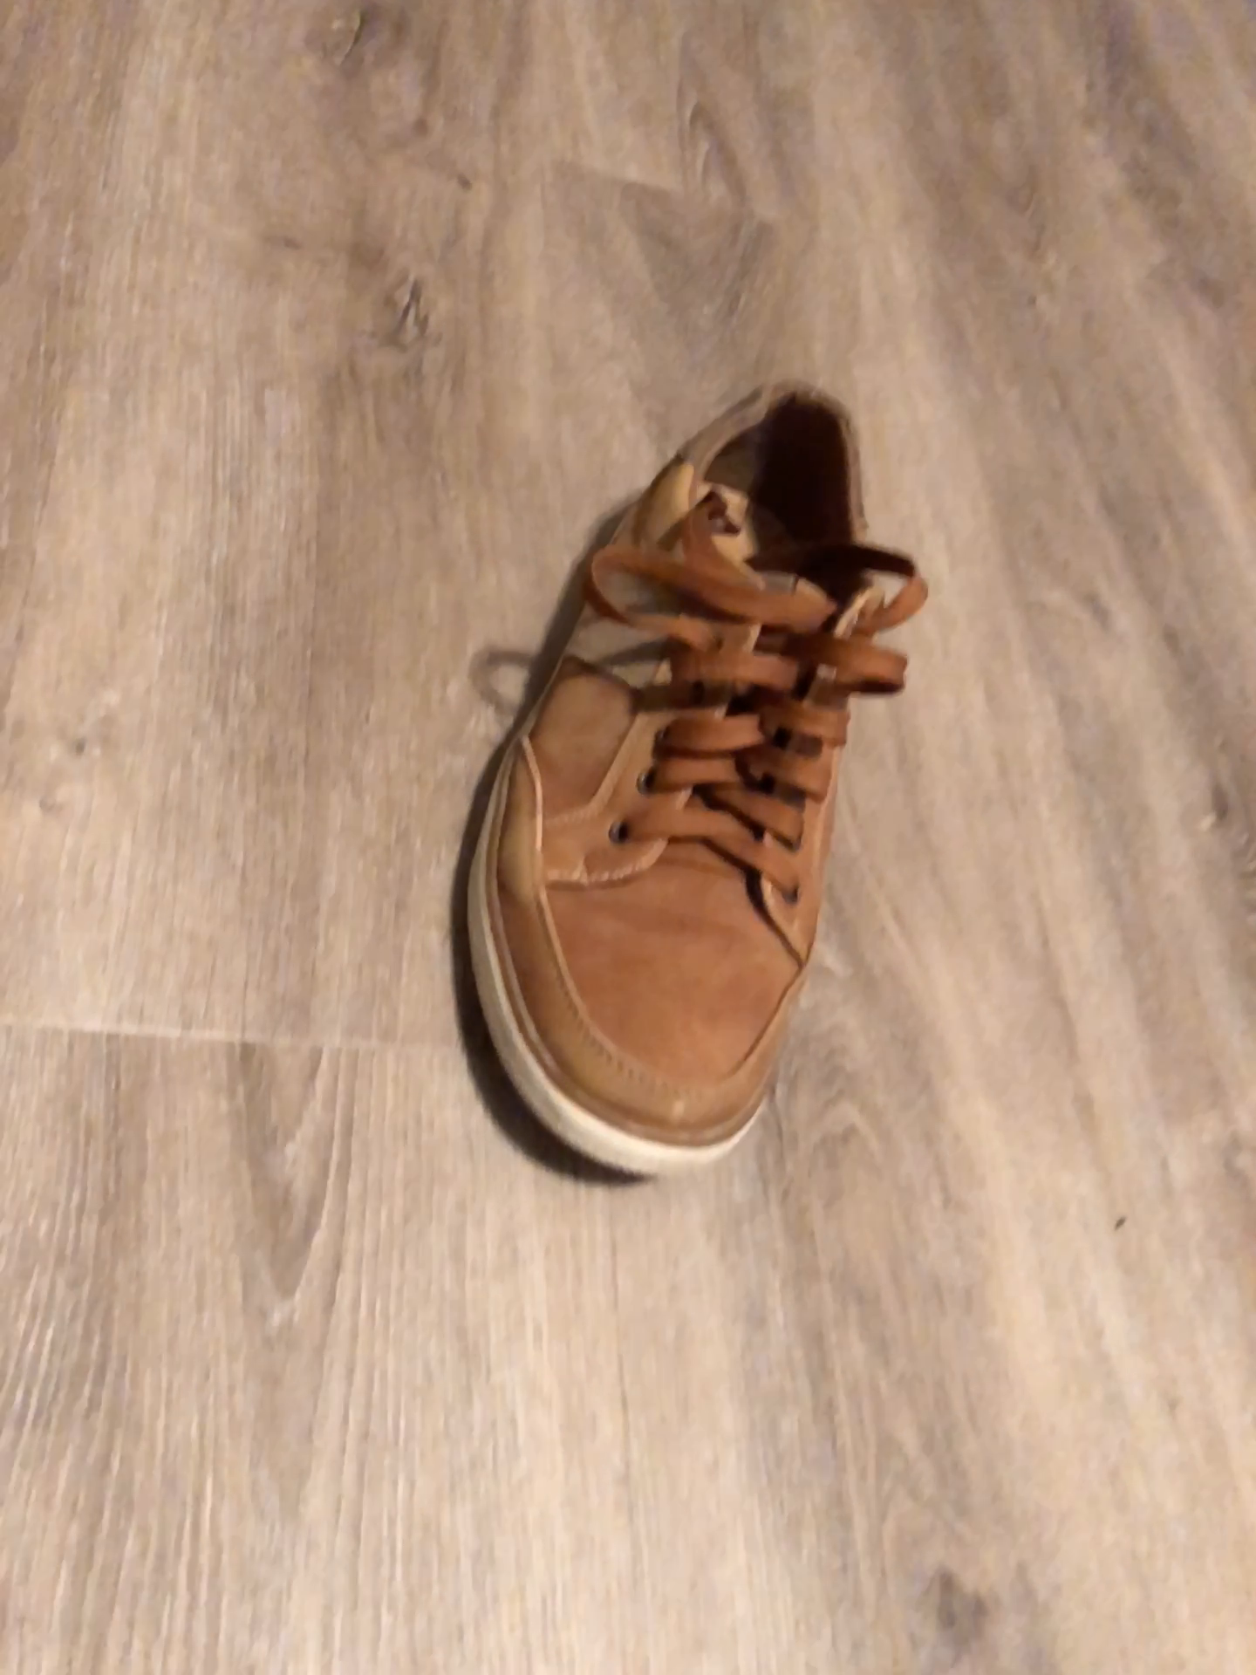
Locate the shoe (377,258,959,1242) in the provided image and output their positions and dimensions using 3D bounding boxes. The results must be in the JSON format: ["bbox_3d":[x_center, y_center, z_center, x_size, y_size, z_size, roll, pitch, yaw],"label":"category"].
[{"bbox_3d":[0.023,-0.038,0.434,0.110,0.100,0.281,20,54,-11],"label":"shoe"}]
